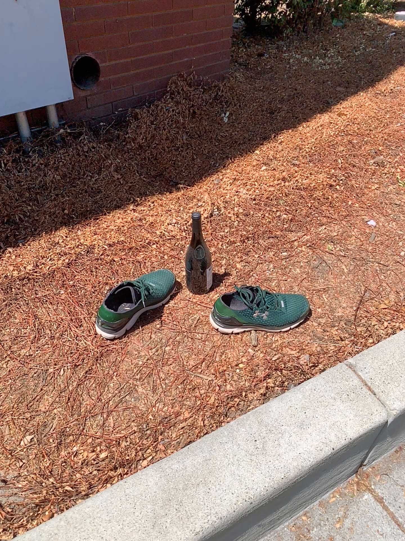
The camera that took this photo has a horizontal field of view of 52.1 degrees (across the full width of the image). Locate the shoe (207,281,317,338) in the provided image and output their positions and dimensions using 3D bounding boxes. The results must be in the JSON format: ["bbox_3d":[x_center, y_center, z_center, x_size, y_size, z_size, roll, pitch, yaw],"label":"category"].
[{"bbox_3d":[0.165,0.114,1.214,0.290,0.099,0.121,-1,41,-6],"label":"shoe"}]

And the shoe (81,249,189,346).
[{"bbox_3d":[-0.187,0.069,1.208,0.120,0.099,0.301,31,48,28],"label":"shoe"}]
